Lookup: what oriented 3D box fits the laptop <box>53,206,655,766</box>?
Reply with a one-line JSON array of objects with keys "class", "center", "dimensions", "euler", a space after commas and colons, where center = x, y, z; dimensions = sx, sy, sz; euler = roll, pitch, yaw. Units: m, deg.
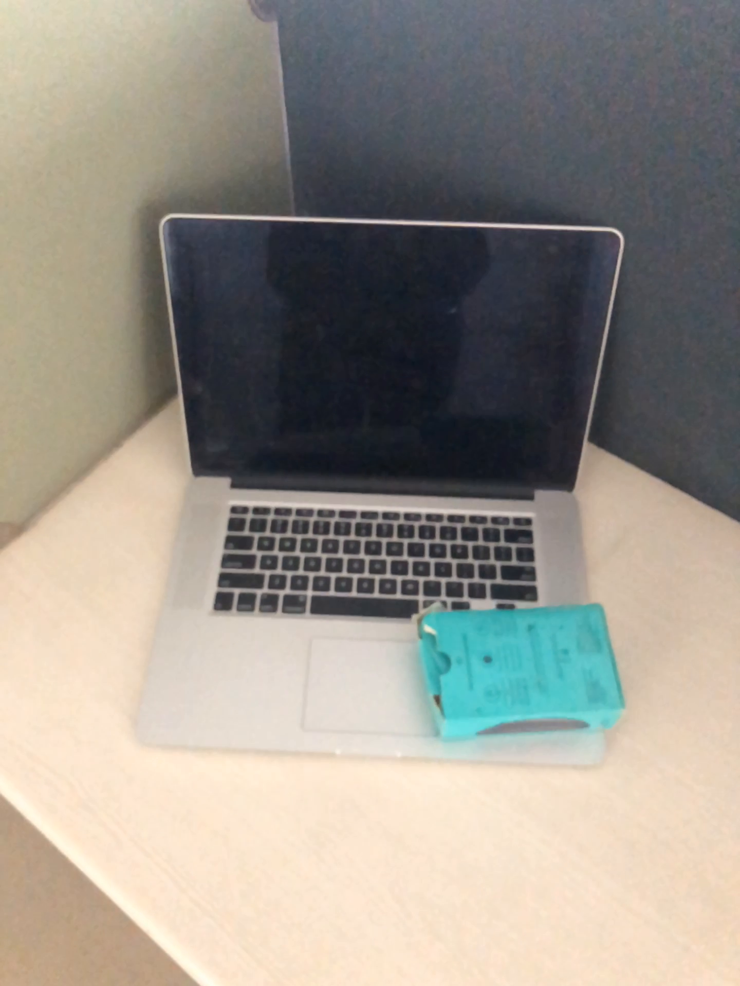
[{"class": "laptop", "center": [-0.001, -0.011, 0.619], "dimensions": [0.328, 0.200, 0.339], "euler": [3, 58, 3]}]
